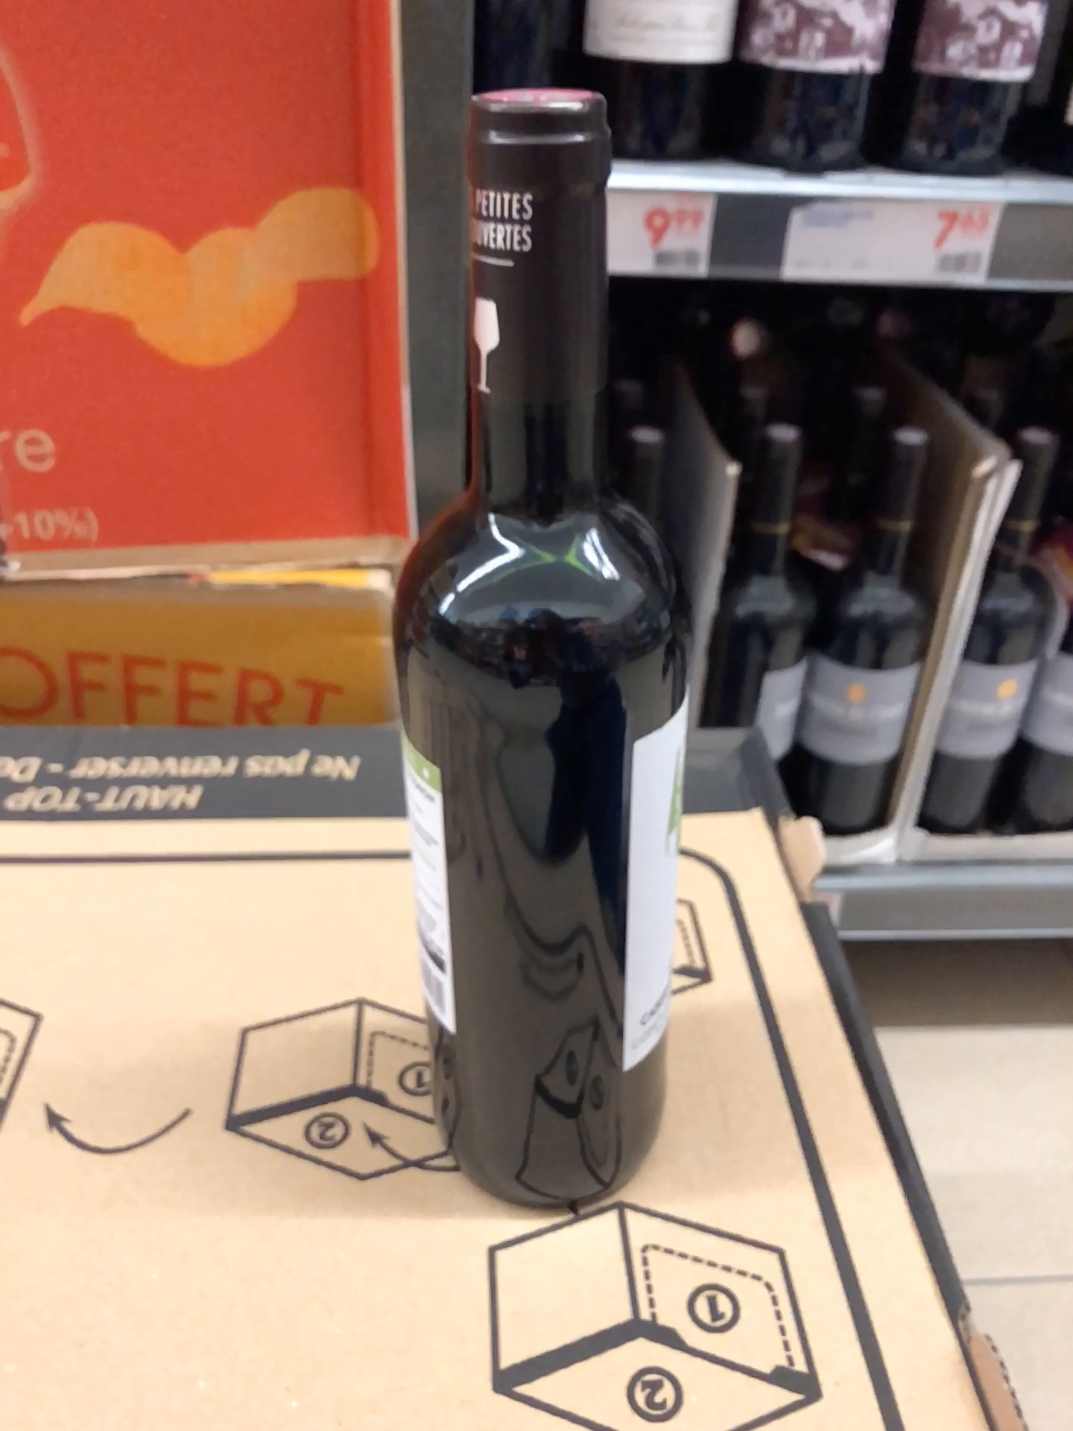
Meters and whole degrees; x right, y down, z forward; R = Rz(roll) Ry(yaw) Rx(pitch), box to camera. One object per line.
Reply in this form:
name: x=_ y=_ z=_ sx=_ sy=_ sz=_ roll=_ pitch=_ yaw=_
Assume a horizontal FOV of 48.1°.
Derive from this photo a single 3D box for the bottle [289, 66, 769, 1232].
bottle: x=0.001 y=0.002 z=0.318 sx=0.080 sy=0.298 sz=0.091 roll=3 pitch=33 yaw=3
